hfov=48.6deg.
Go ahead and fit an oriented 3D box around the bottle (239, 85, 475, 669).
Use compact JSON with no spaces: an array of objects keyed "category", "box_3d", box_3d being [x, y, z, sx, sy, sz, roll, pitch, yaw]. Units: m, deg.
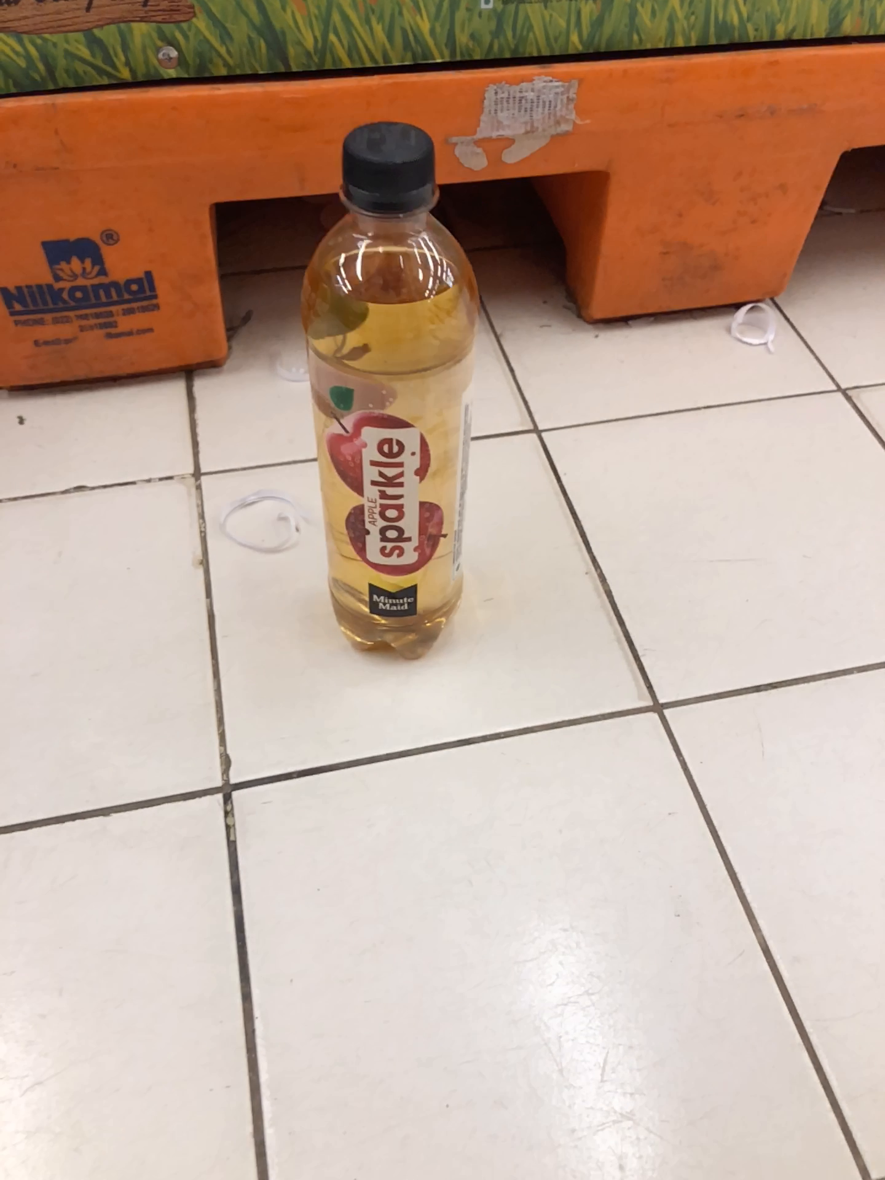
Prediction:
[{"category":"bottle","box_3d":[-0.027,-0.068,0.403,0.070,0.238,0.070,1,49,-1]}]
